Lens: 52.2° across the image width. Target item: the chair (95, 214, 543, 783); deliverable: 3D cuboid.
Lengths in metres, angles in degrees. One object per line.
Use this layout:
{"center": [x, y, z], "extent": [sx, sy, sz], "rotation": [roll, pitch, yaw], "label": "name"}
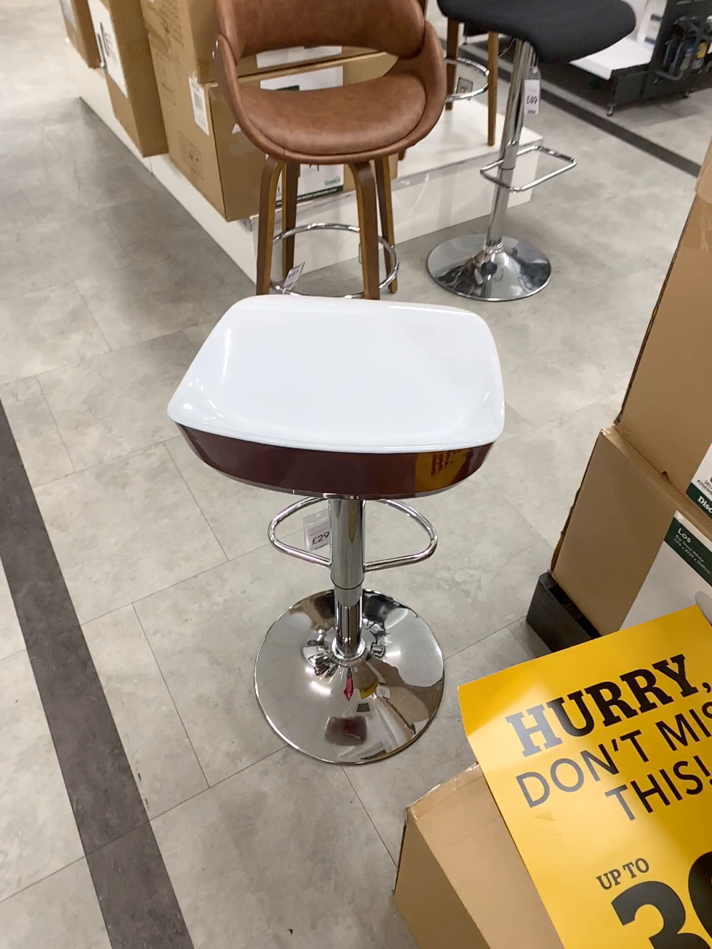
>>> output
{"center": [-0.019, 0.084, 1.135], "extent": [0.435, 0.793, 0.438], "rotation": [4, 46, 4], "label": "chair"}
